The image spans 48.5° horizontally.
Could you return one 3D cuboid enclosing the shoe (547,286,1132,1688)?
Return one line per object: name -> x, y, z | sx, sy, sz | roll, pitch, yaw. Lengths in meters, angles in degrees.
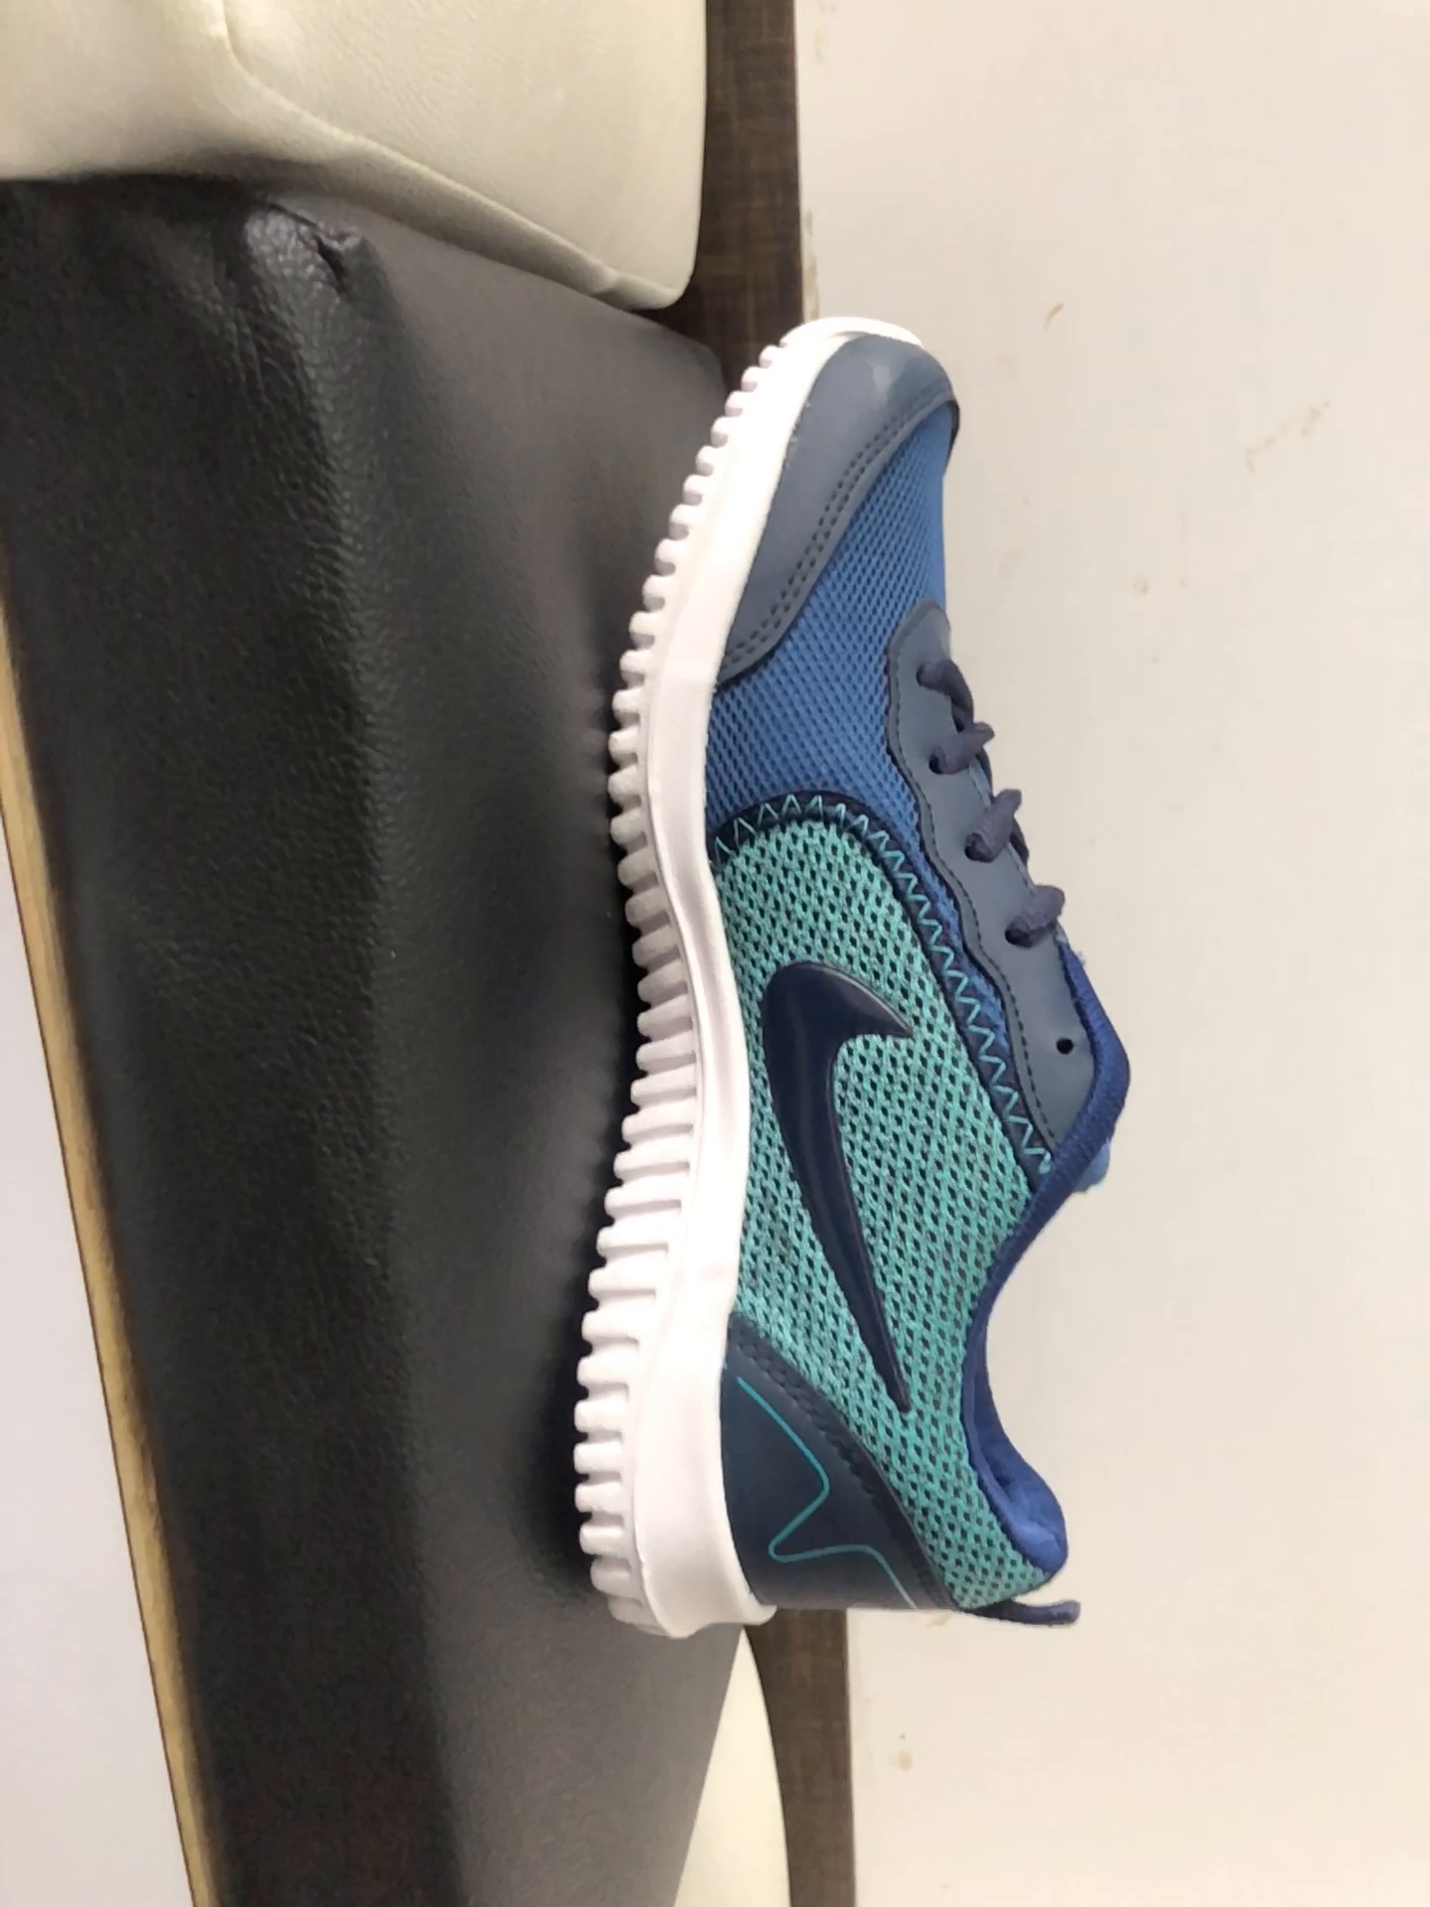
shoe -> 0.036, 0.008, 0.360 | 0.130, 0.100, 0.260 | 51, 40, -74
